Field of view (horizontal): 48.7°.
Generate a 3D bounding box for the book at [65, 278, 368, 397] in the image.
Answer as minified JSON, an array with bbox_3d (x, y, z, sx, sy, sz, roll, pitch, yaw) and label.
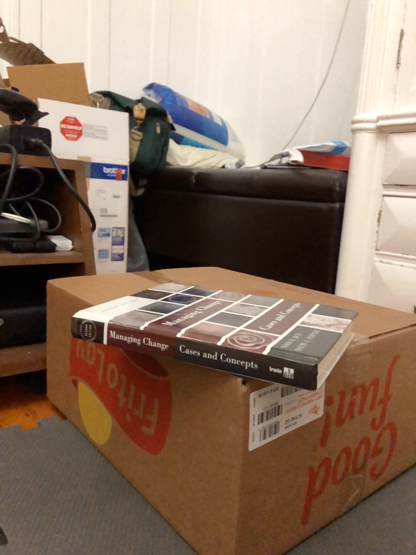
[{"bbox_3d":[0.017,0.043,0.462,0.250,0.030,0.180,8,11,25],"label":"book"}]
